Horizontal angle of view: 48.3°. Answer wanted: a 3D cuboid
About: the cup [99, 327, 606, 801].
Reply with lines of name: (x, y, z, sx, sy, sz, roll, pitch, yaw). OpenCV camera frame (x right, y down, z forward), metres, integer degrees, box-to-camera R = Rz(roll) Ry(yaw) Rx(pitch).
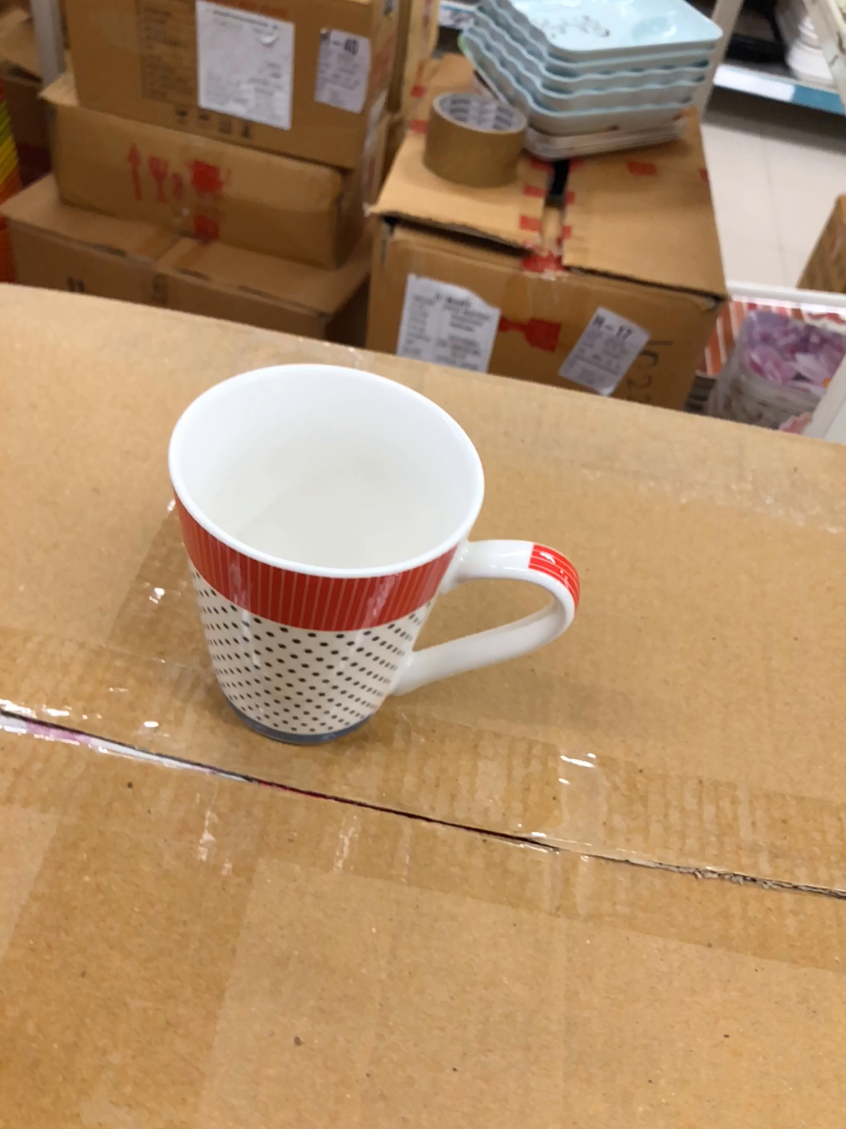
cup: (-0.018, 0.001, 0.285, 0.120, 0.089, 0.091, 8, 46, -3)
